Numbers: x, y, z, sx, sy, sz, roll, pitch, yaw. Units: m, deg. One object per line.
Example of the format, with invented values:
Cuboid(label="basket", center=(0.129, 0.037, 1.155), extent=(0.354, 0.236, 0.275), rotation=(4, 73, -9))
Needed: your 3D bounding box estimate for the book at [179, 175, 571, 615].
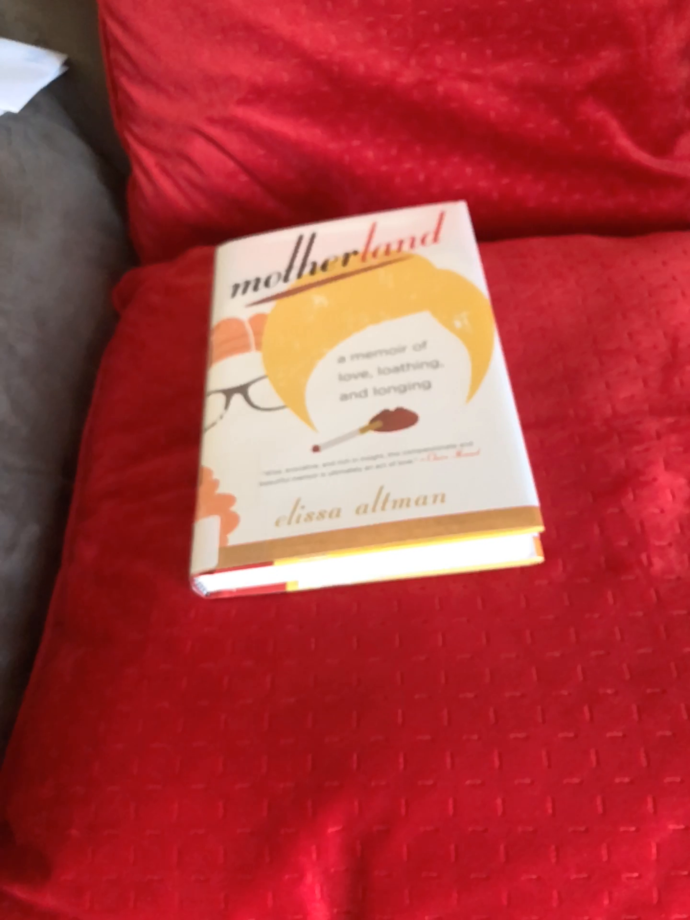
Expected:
Cuboid(label="book", center=(0.007, -0.042, 0.352), extent=(0.140, 0.040, 0.210), rotation=(-7, 53, 4))
